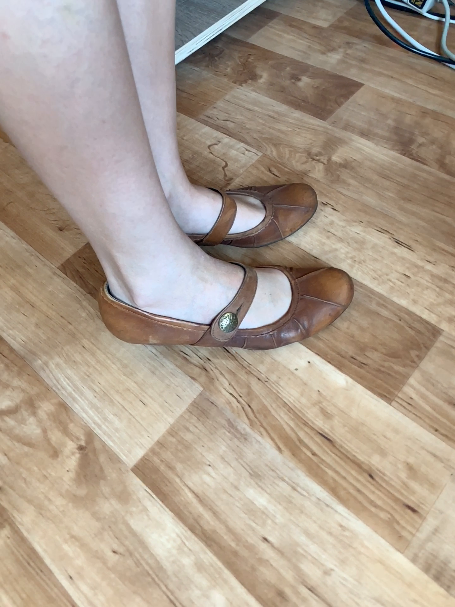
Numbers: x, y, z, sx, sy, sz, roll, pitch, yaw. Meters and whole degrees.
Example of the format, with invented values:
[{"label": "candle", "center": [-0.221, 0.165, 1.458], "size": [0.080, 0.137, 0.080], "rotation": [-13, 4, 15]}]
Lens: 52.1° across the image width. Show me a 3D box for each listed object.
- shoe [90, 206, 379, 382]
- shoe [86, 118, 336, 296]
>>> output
[{"label": "shoe", "center": [0.004, -0.007, 0.459], "size": [0.250, 0.090, 0.090], "rotation": [-12, 57, -1]}, {"label": "shoe", "center": [-0.016, -0.109, 0.527], "size": [0.250, 0.090, 0.090], "rotation": [-20, 58, -6]}]
